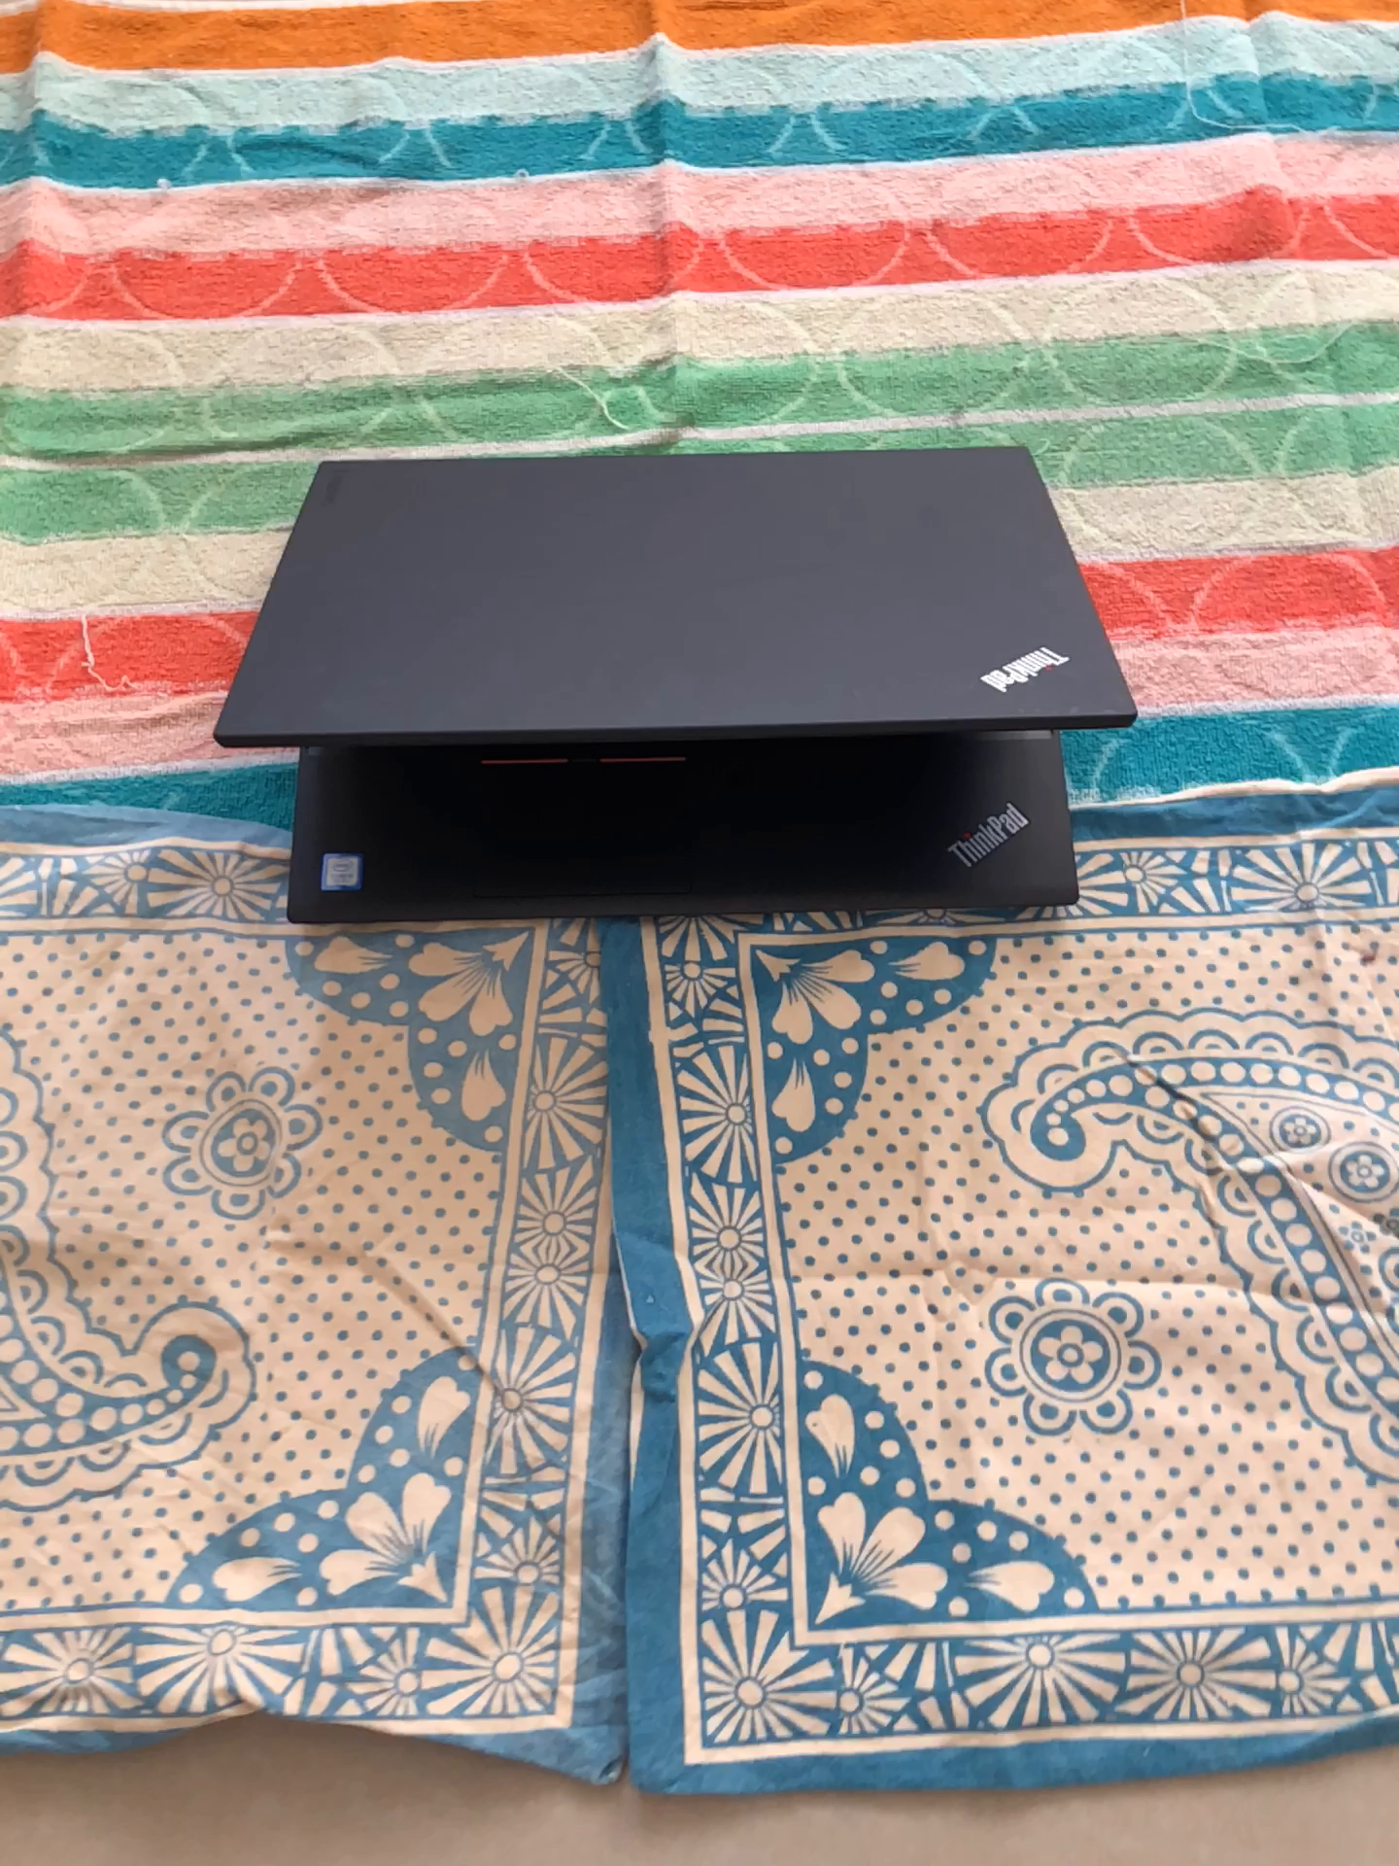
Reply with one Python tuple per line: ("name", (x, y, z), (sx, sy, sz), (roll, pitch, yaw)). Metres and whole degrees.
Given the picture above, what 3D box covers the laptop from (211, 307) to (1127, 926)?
("laptop", (-0.010, -0.141, 0.685), (0.345, 0.121, 0.243), (-1, 67, -2))
